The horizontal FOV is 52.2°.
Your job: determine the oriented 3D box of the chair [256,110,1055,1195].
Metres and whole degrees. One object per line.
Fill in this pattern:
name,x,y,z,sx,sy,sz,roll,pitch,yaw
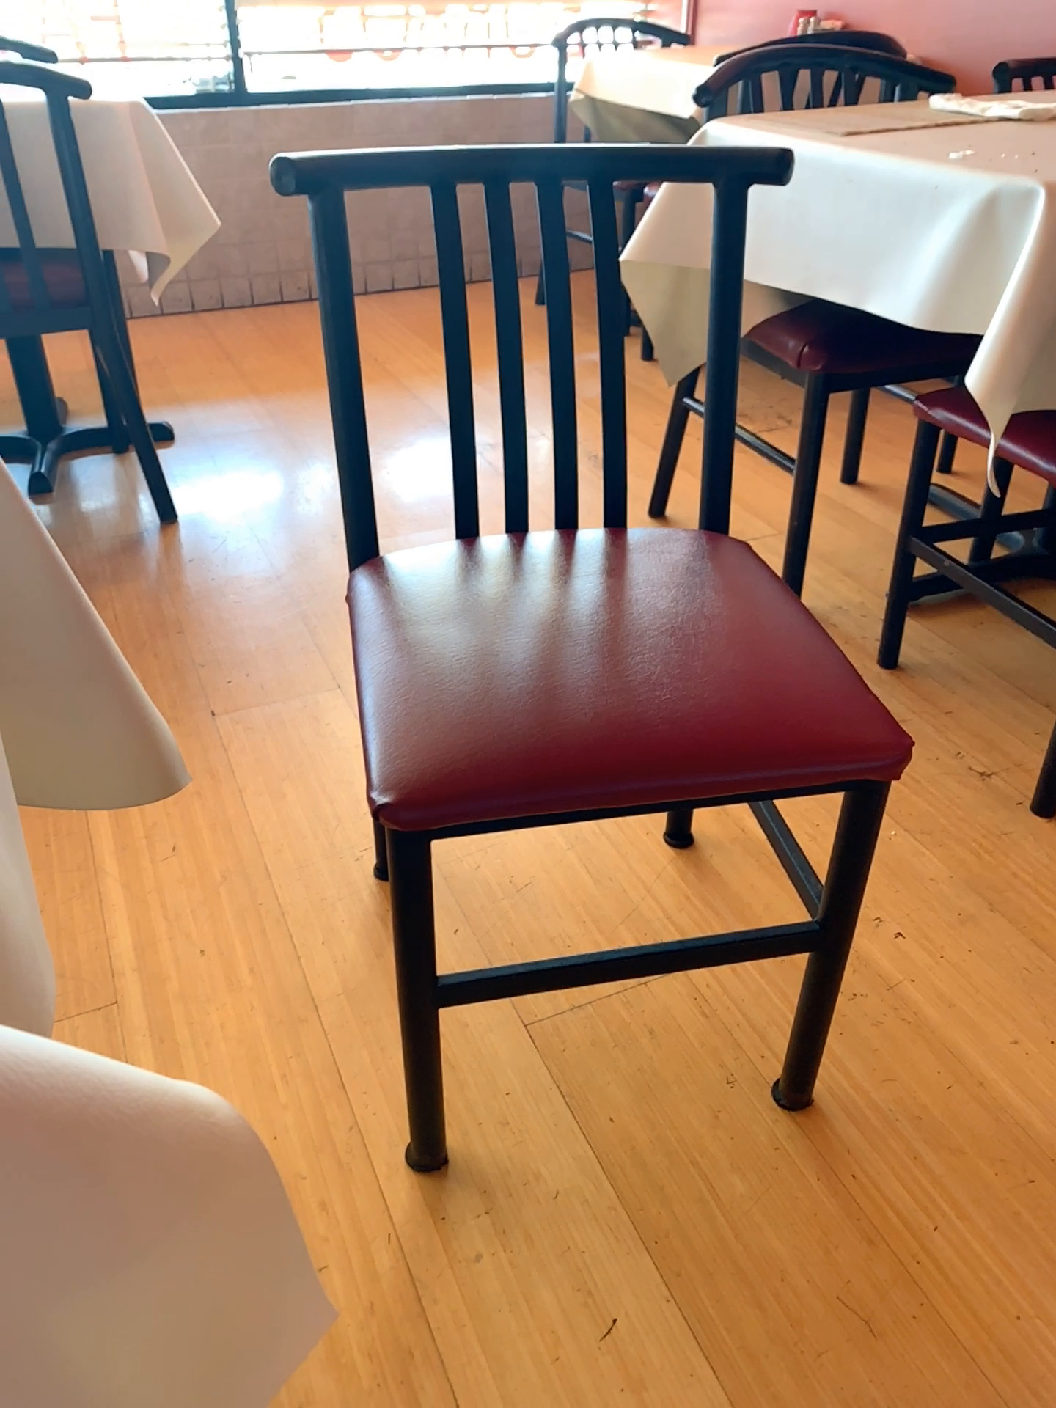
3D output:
chair,0.041,-0.083,0.958,0.480,0.726,0.573,-5,34,-12
